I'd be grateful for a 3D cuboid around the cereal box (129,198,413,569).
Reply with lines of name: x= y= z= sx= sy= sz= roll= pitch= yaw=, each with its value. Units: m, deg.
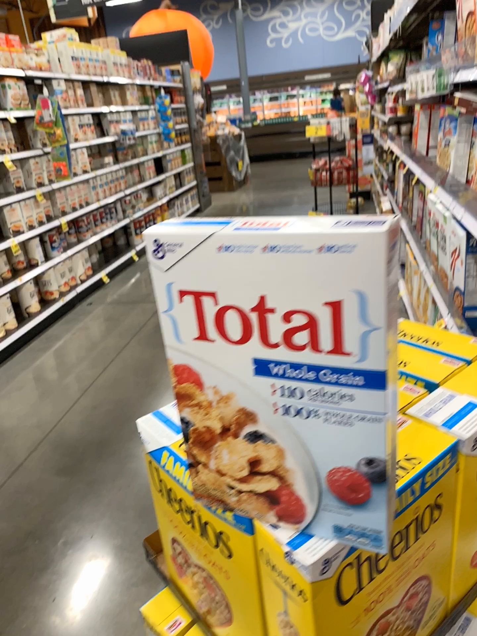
cereal box: x=0.035 y=0.056 z=0.423 sx=0.210 sy=0.299 sz=0.050 roll=4 pitch=25 yaw=27
